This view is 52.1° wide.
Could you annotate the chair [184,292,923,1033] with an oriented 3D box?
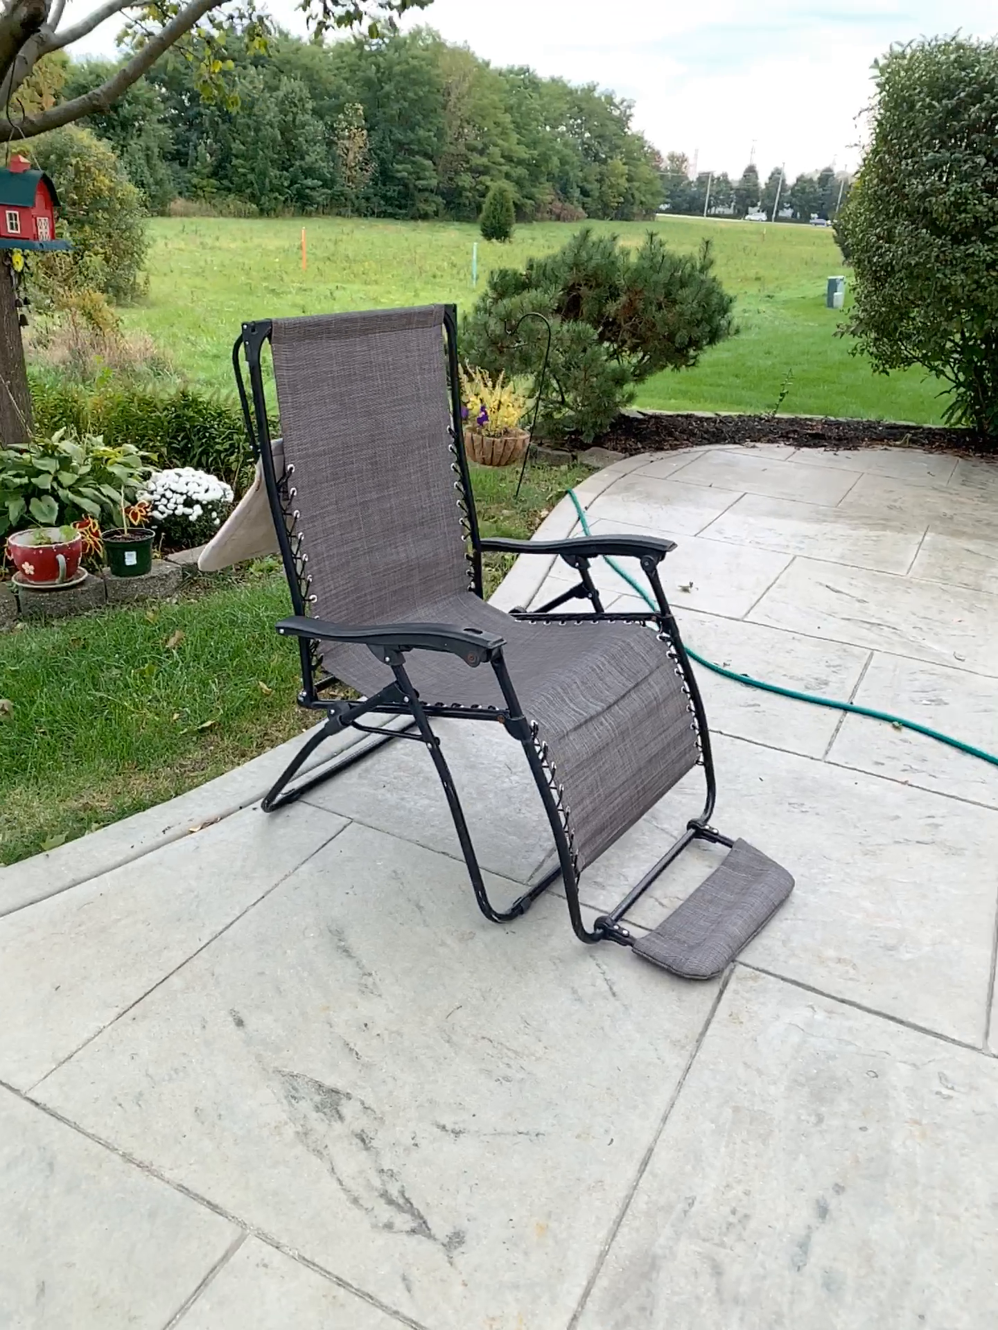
[{"bbox_3d":[0.073,-0.133,2.088,1.146,1.057,0.746,18,28,29],"label":"chair"}]
